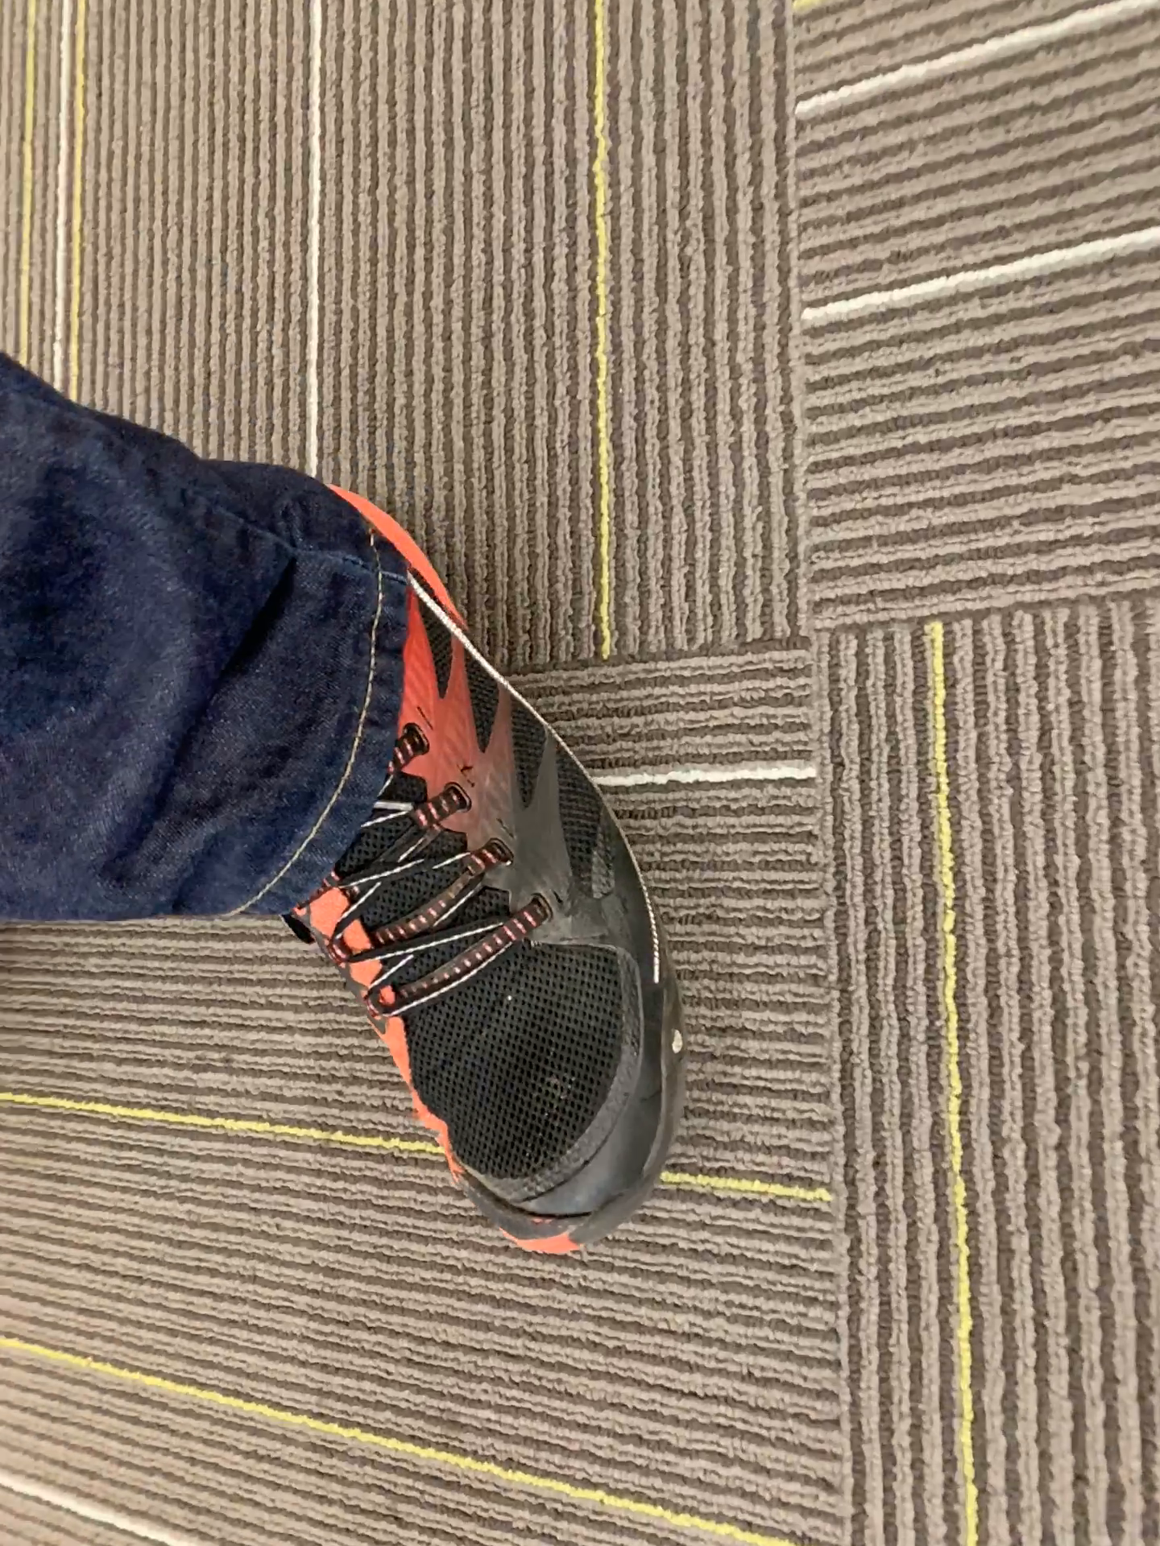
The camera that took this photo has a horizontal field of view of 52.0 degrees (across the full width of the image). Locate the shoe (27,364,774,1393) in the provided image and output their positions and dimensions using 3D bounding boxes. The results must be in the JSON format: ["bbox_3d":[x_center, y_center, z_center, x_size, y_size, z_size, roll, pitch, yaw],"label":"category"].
[{"bbox_3d":[-0.070,0.029,0.423,0.130,0.100,0.300,-32,73,22],"label":"shoe"}]

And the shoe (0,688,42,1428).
[{"bbox_3d":[-0.384,0.134,0.601,0.120,0.120,0.320,-17,79,25],"label":"shoe"}]
